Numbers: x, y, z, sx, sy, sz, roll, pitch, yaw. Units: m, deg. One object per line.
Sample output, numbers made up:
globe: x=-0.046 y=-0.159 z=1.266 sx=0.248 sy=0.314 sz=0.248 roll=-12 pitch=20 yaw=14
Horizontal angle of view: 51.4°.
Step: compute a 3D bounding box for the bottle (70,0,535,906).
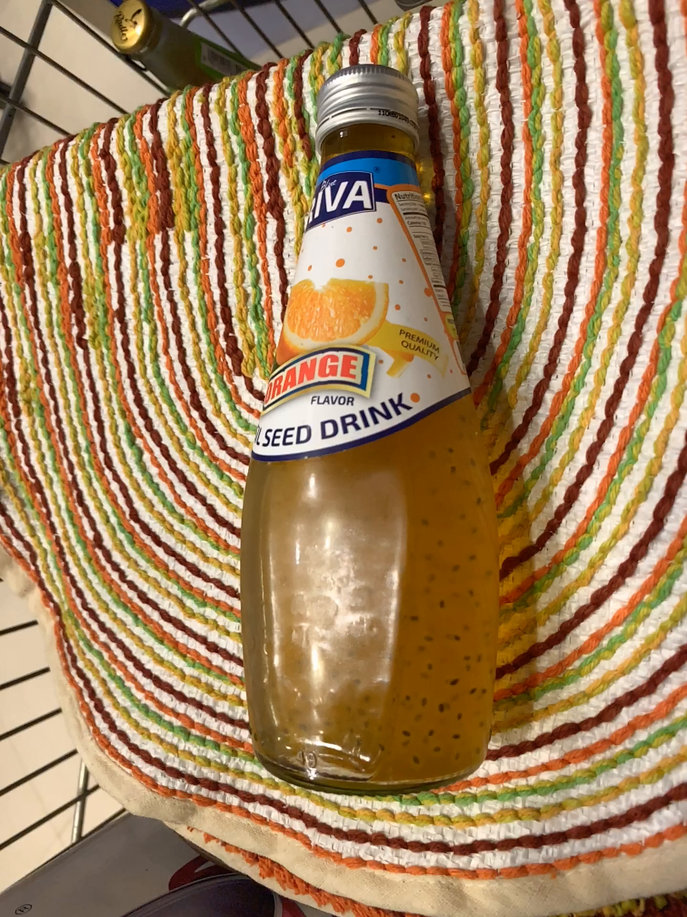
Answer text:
bottle: x=-0.006 y=0.001 z=0.163 sx=0.070 sy=0.050 sz=0.160 roll=-3 pitch=97 yaw=32
